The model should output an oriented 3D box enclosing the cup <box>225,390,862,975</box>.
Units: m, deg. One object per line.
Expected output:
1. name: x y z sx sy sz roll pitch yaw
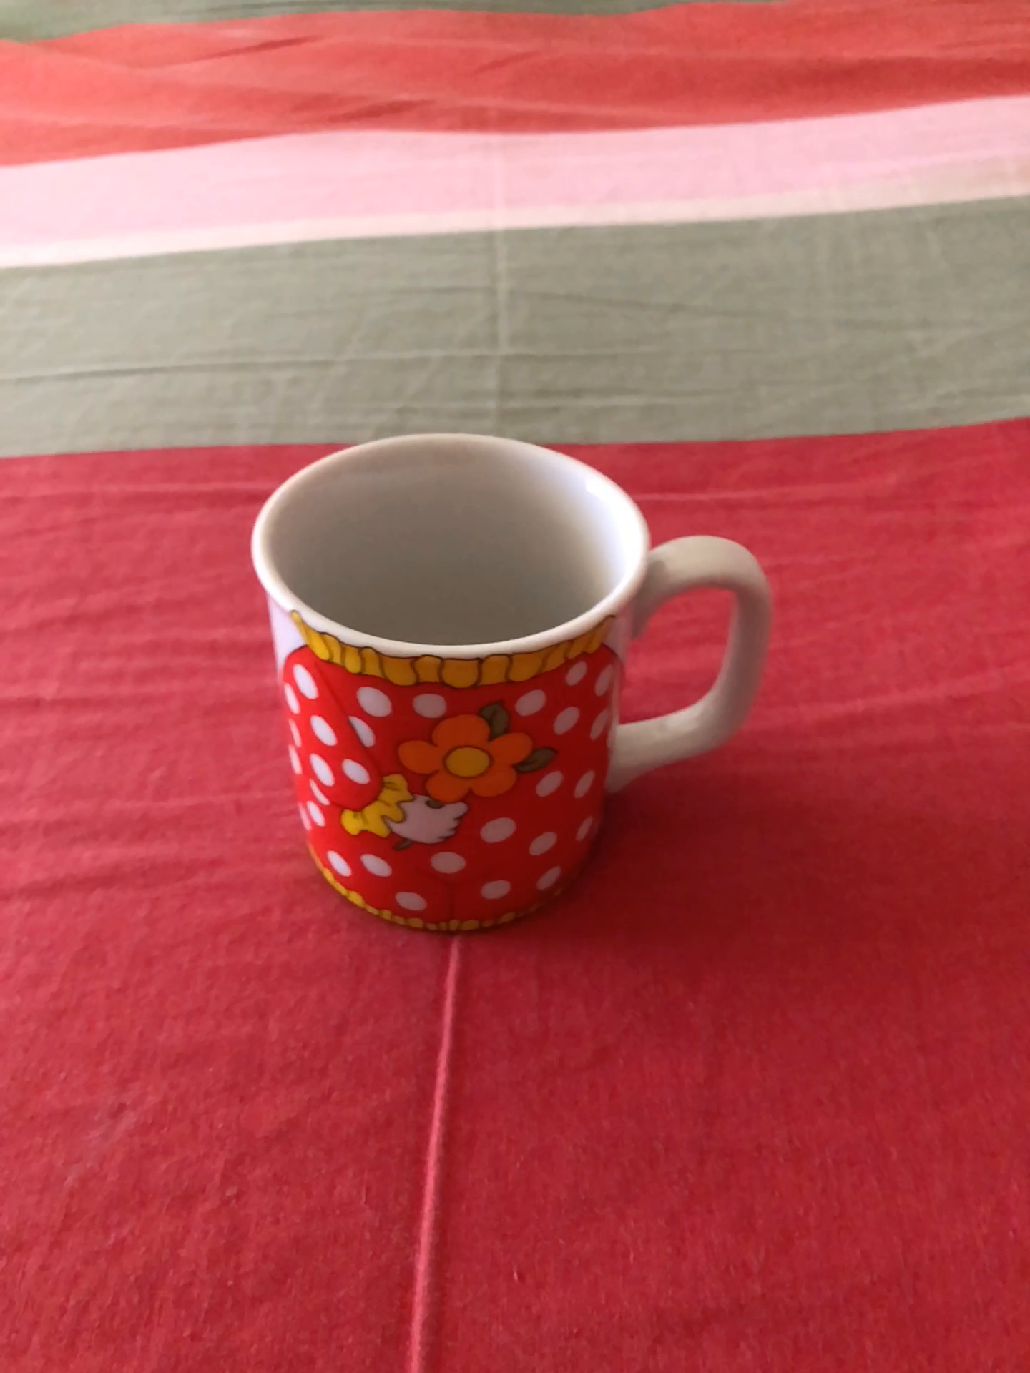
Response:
1. cup: -0.001 -0.005 0.276 0.116 0.086 0.089 -9 44 -13
